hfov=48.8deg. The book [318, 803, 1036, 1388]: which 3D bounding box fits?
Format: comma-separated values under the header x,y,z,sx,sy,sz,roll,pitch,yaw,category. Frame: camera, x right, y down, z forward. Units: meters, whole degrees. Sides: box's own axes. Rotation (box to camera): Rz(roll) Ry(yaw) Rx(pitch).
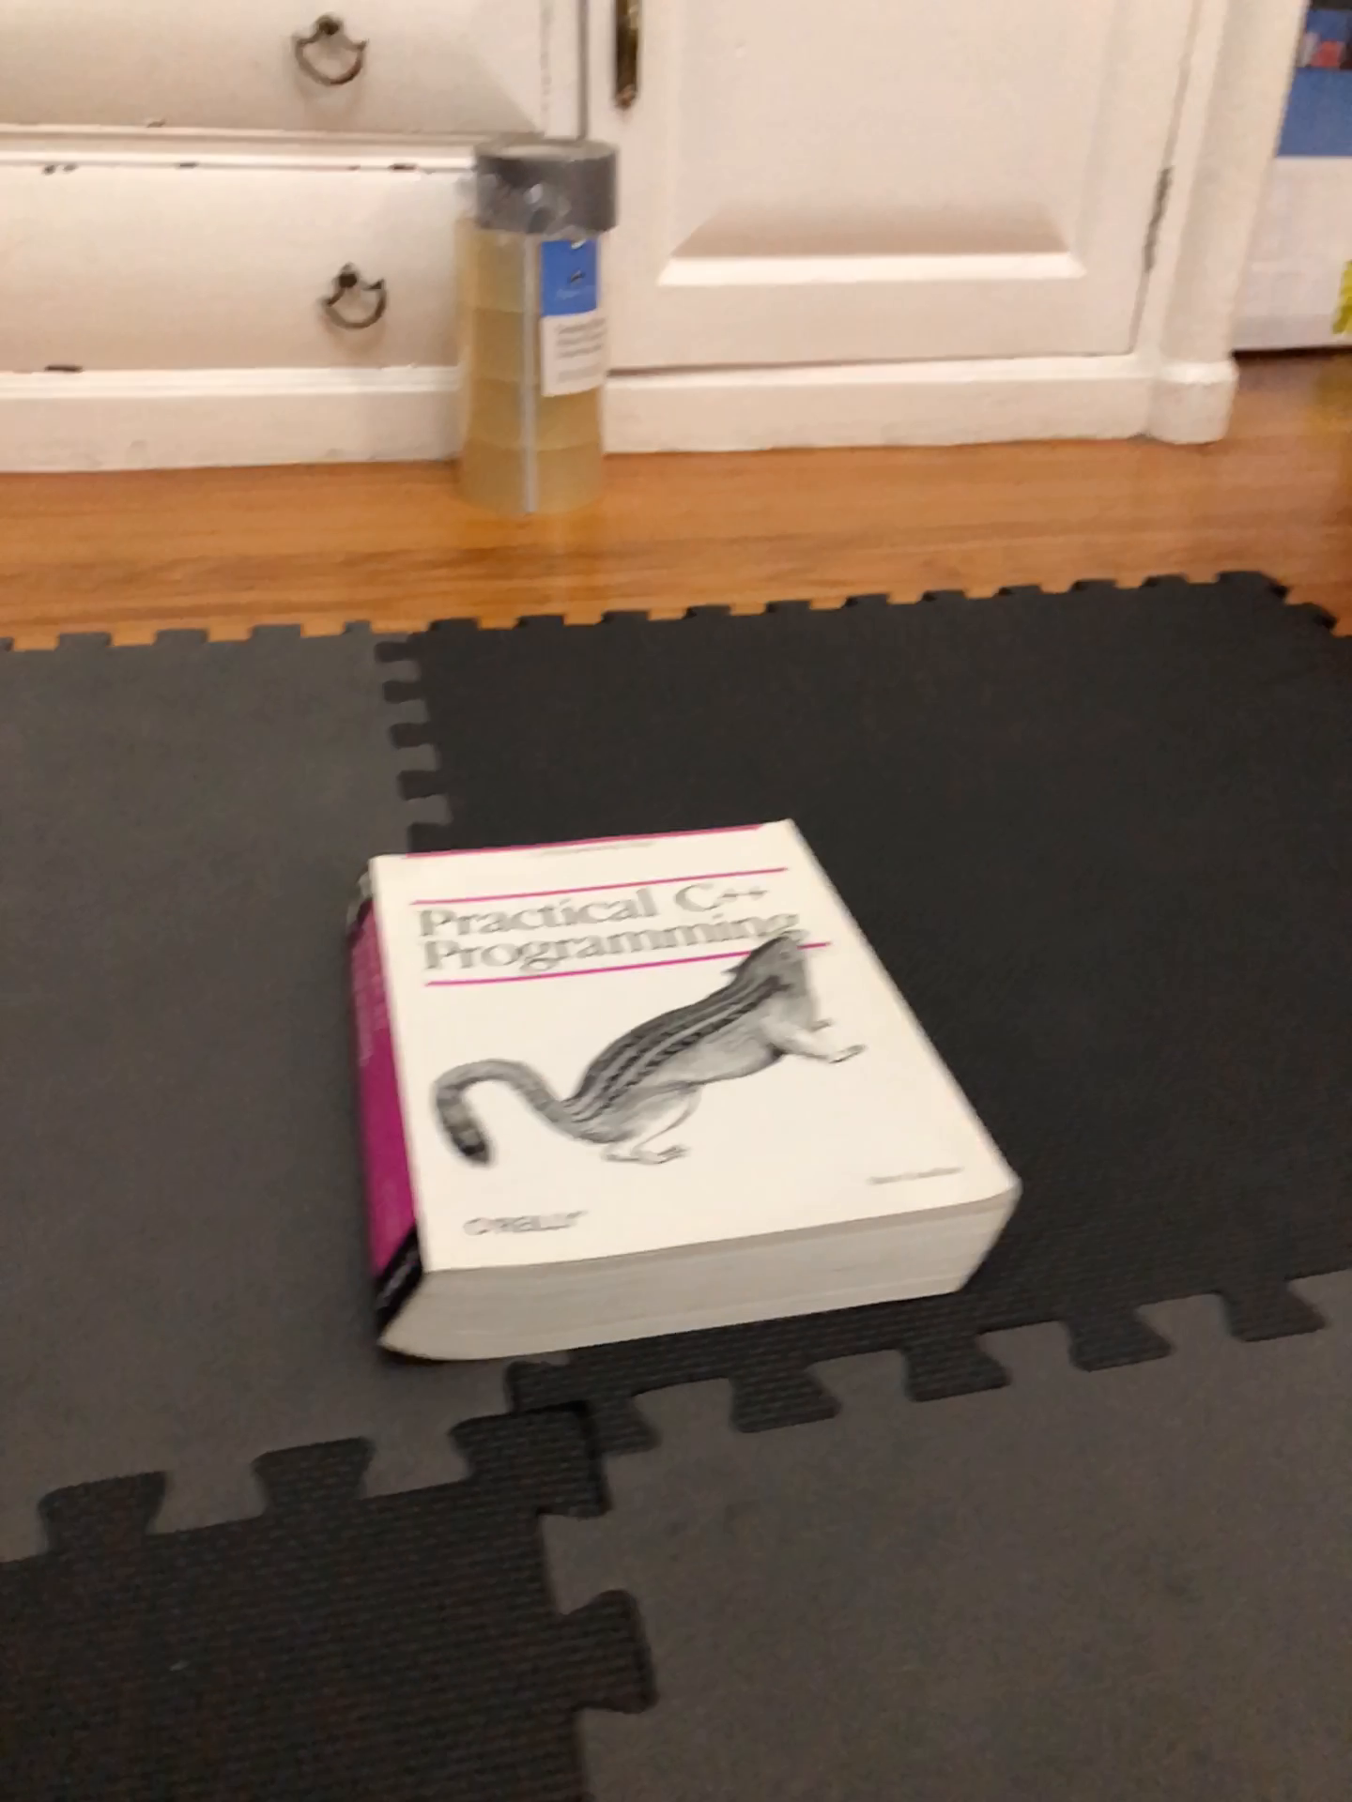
x,y,z,sx,sy,sz,roll,pitch,yaw,category
-0.020,0.048,0.537,0.200,0.050,0.251,0,32,-16,book
